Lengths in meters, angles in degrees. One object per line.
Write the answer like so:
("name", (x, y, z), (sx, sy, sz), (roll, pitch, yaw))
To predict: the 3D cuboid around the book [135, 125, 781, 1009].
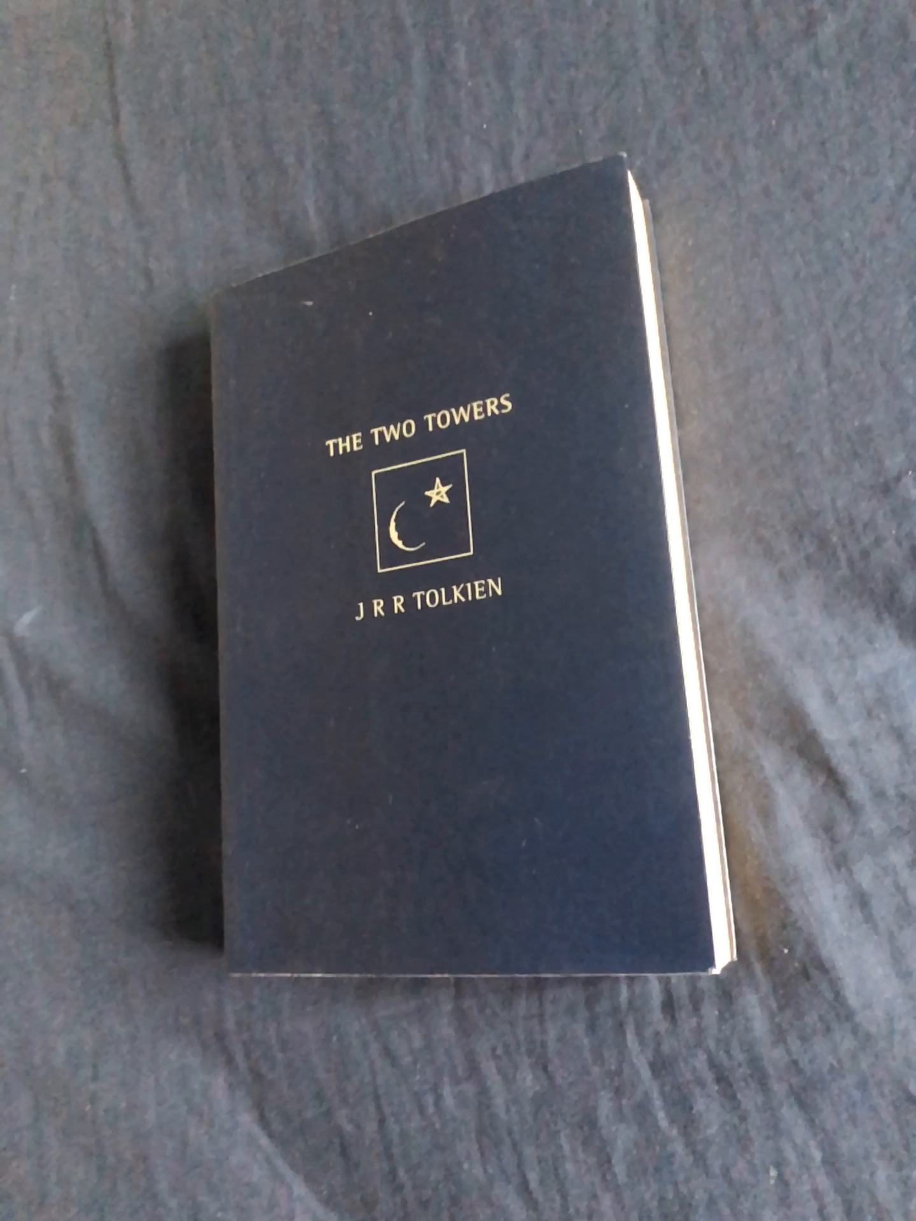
("book", (-0.006, -0.003, 0.267), (0.140, 0.060, 0.190), (-10, 77, 21))
